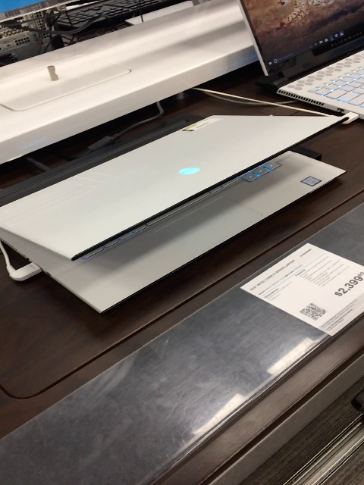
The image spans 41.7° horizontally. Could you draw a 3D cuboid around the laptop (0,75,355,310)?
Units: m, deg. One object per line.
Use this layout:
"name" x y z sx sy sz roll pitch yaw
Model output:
"laptop" -0.024 -0.082 0.569 0.347 0.087 0.220 -32 49 -24
